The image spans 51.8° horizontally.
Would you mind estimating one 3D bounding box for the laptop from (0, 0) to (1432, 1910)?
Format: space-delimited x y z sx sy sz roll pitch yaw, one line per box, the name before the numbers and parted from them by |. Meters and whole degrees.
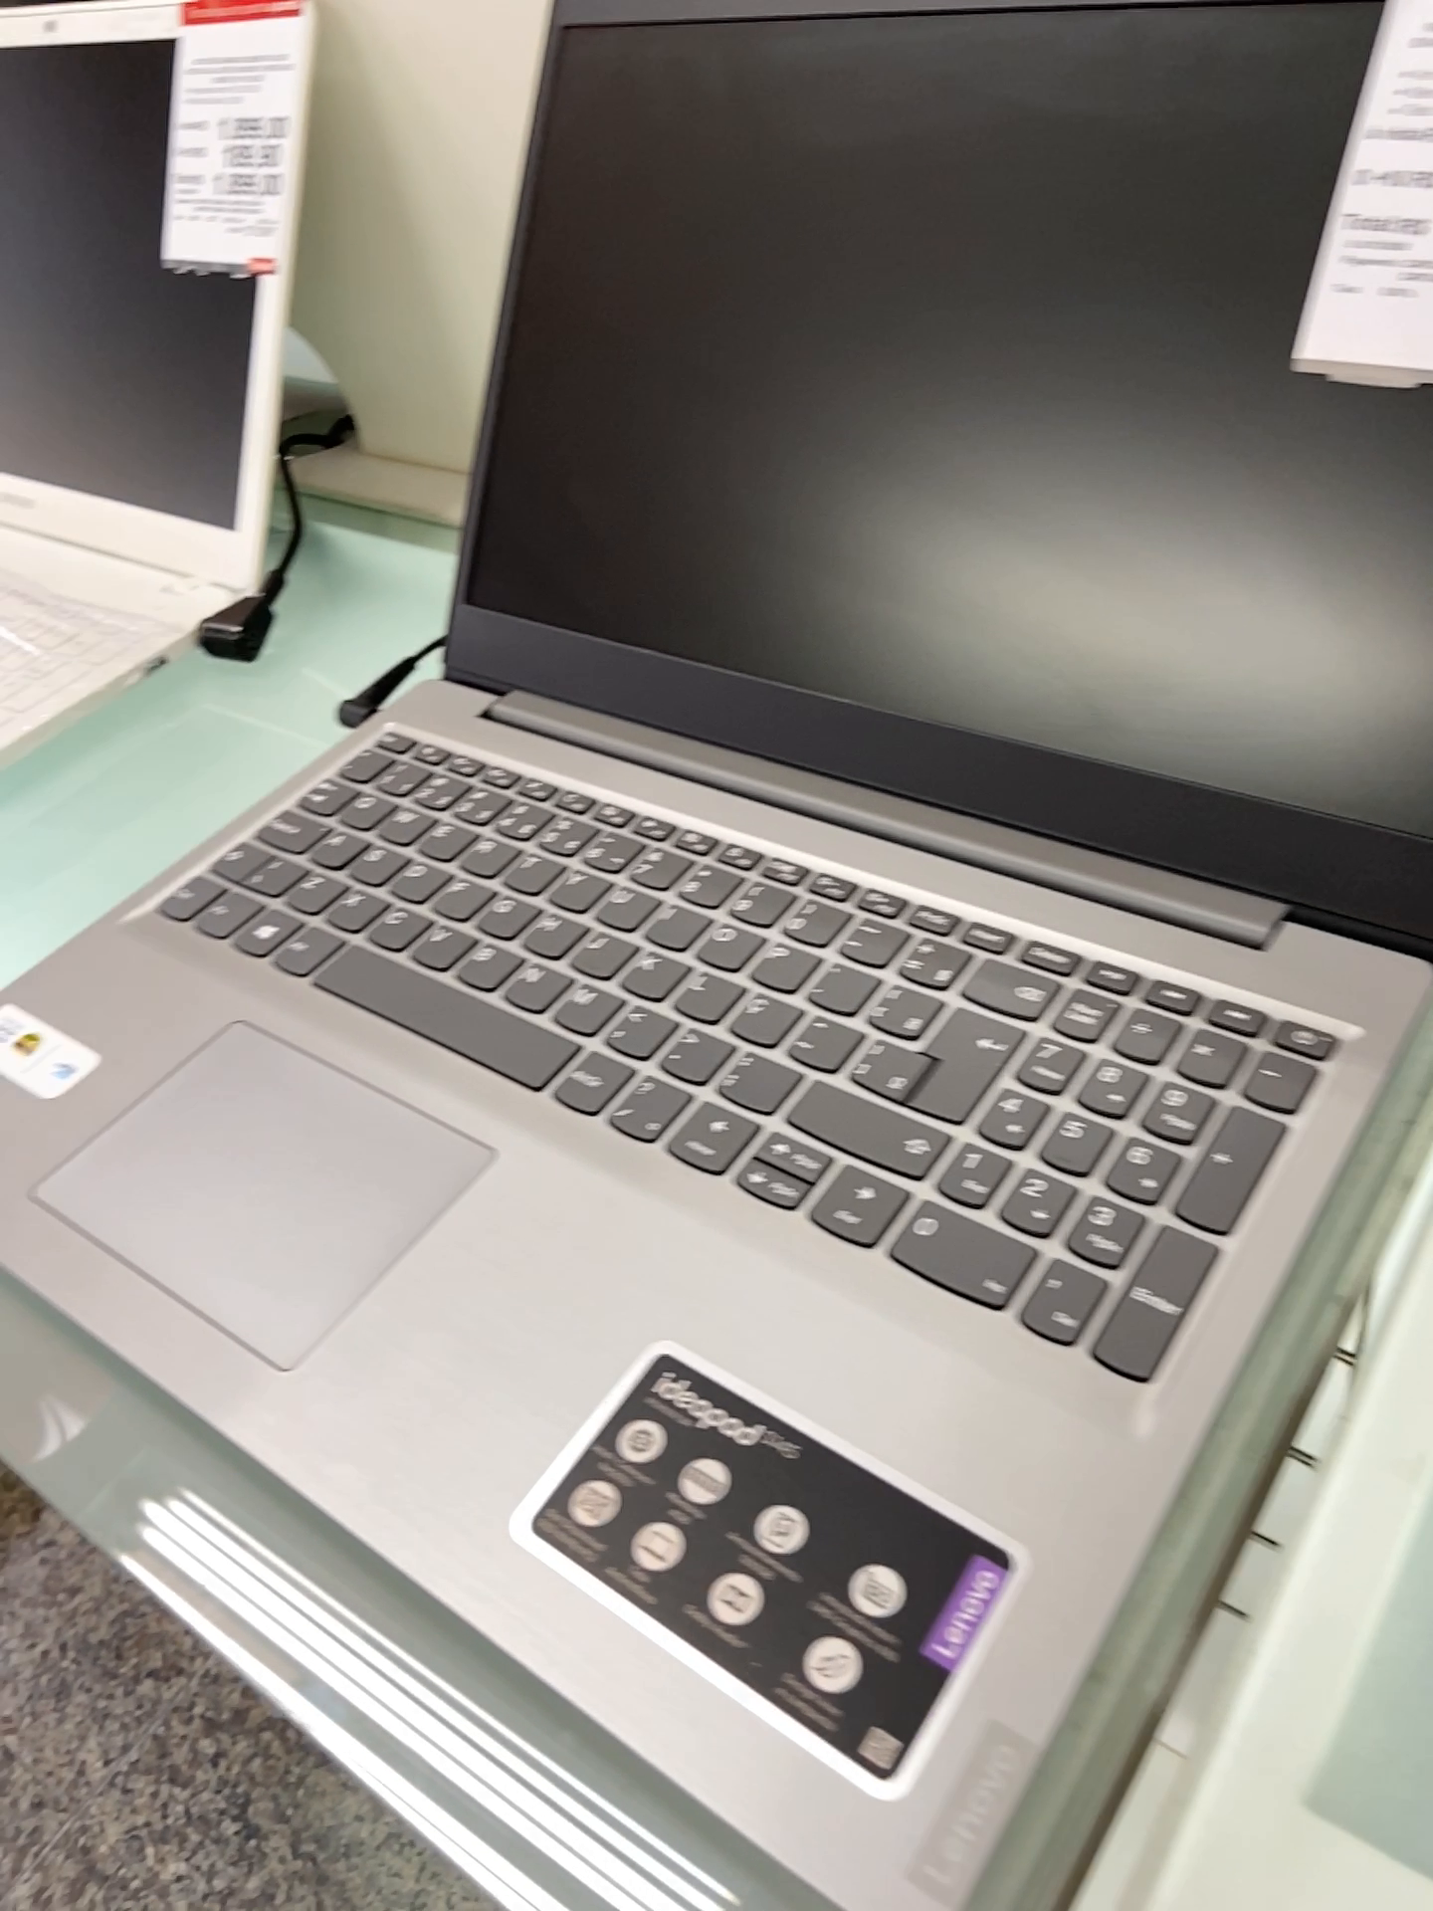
laptop | -0.012 -0.091 0.370 0.367 0.189 0.403 20 51 33
